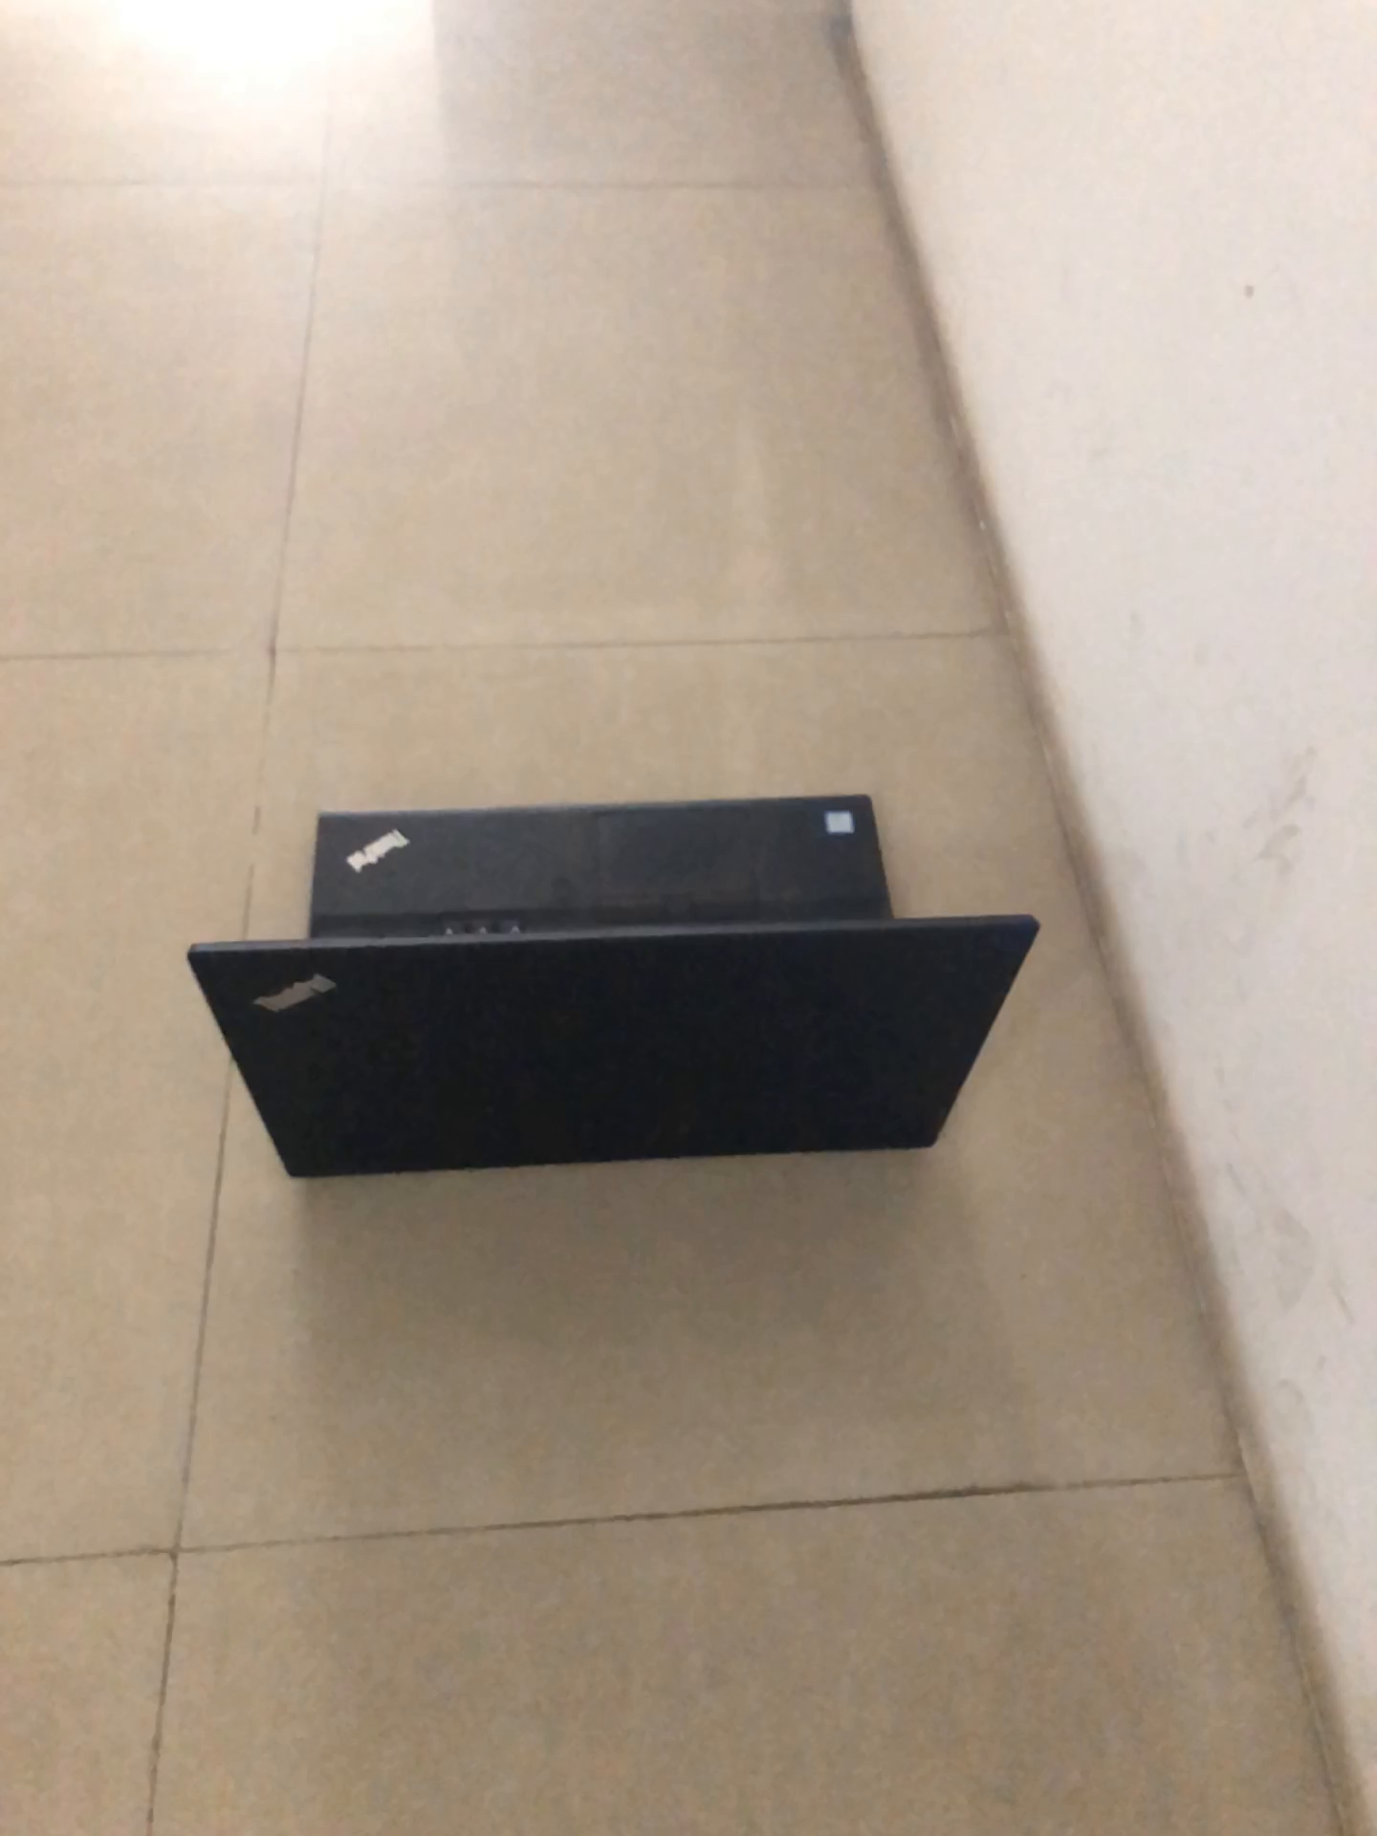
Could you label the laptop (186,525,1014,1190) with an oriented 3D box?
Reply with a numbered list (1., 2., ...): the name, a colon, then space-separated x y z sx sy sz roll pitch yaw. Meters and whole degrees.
1. laptop: -0.045 -0.030 0.818 0.353 0.240 0.256 -1 56 -5
